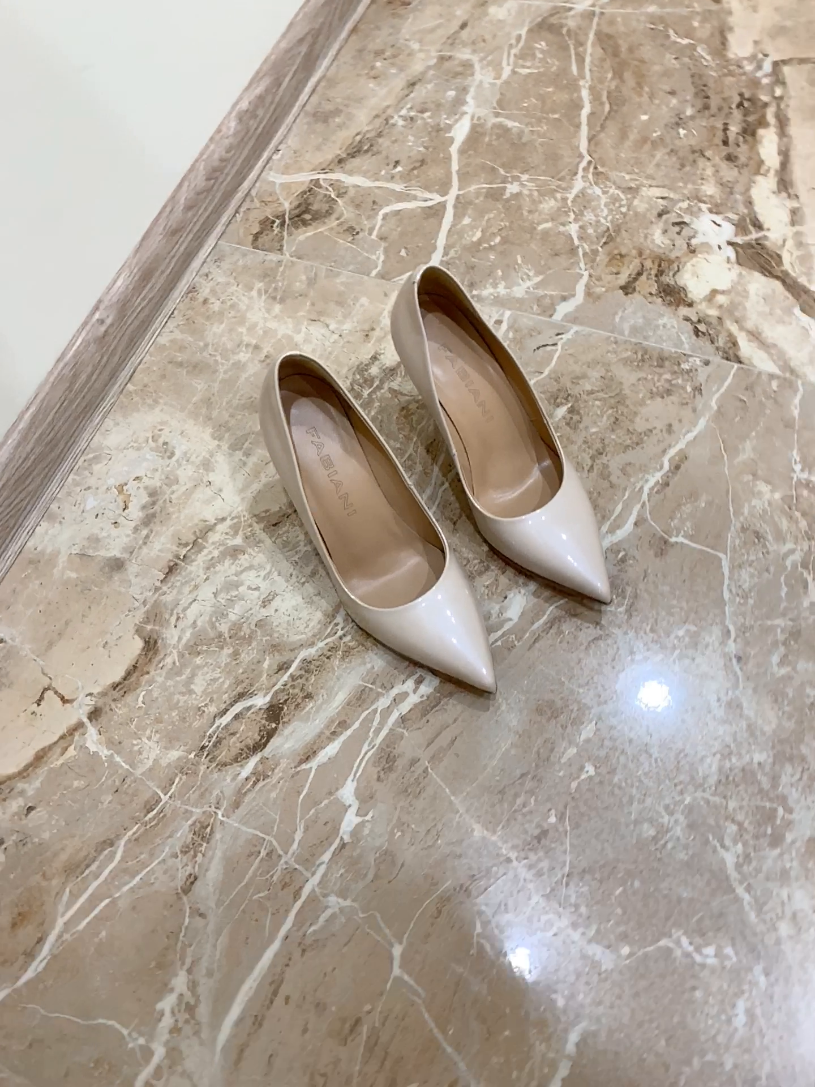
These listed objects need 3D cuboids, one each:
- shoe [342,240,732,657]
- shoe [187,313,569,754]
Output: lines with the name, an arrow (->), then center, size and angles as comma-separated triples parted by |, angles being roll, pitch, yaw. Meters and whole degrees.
shoe -> 0.070, -0.063, 0.531 | 0.090, 0.110, 0.241 | -35, 65, -11
shoe -> -0.020, -0.007, 0.514 | 0.090, 0.120, 0.241 | -35, 65, -11
